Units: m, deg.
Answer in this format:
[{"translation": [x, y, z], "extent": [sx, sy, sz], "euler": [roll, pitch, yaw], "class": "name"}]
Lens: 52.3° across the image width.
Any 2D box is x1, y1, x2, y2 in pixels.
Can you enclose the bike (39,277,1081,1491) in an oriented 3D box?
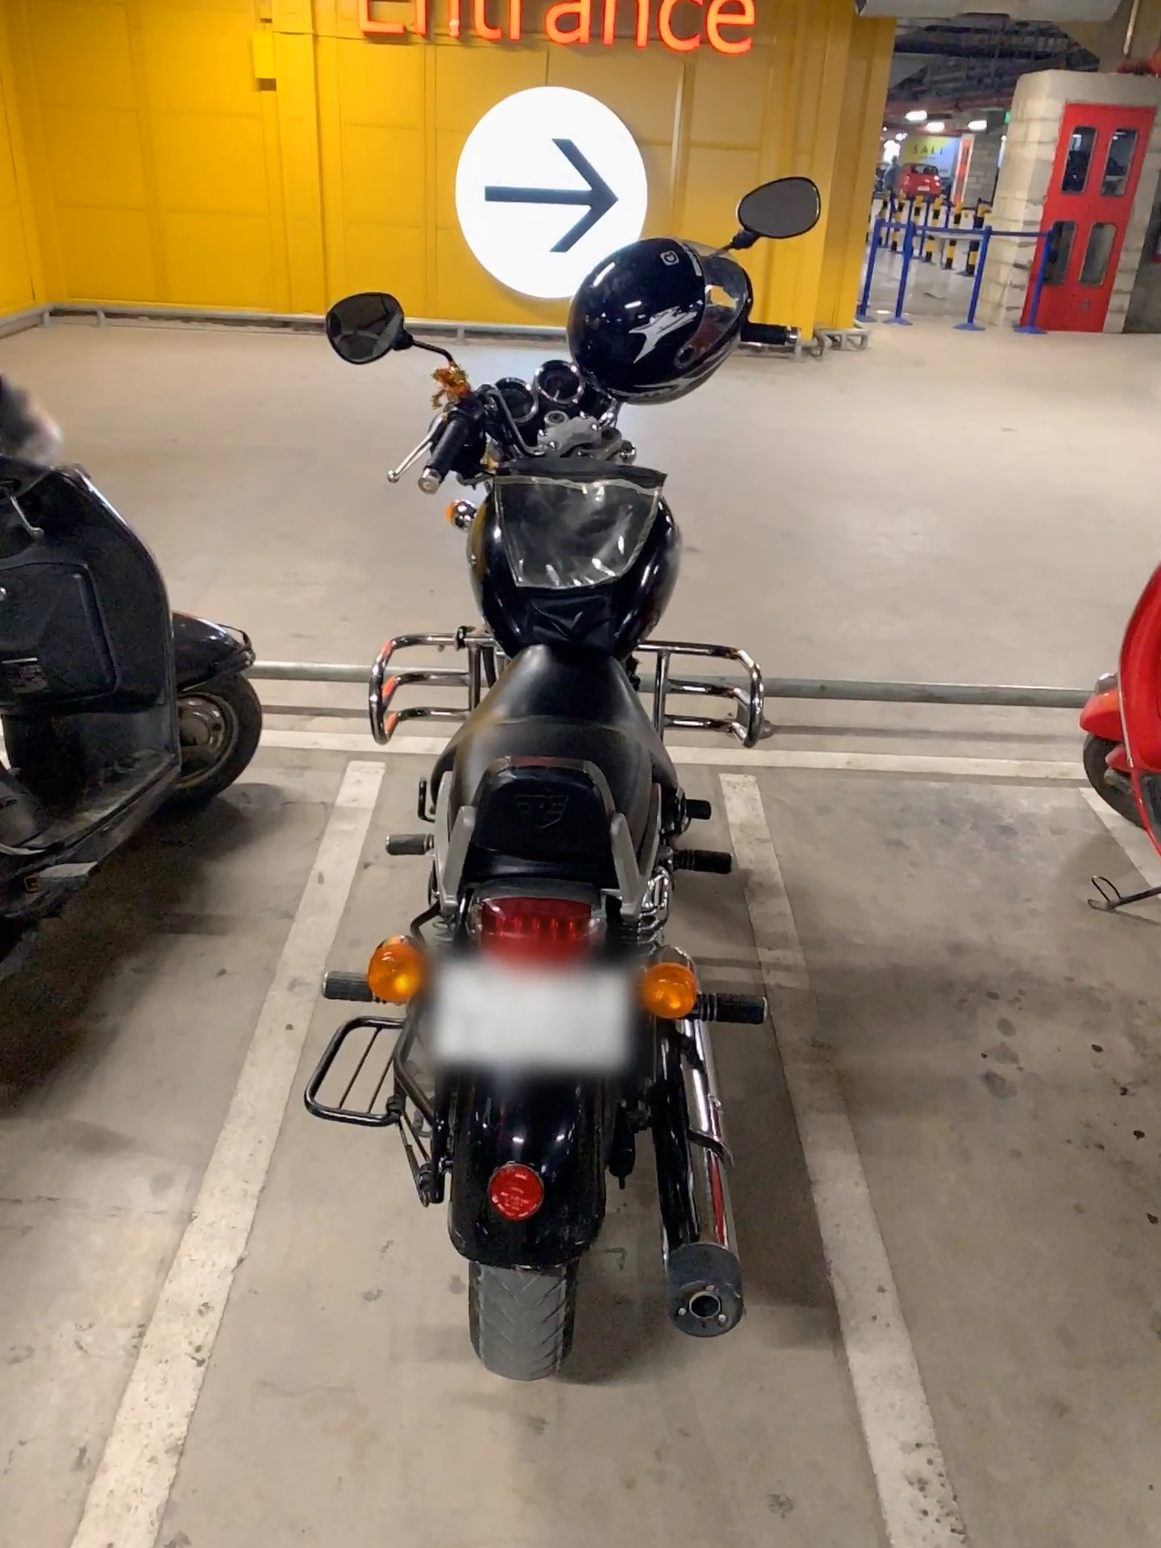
[{"translation": [-0.118, -0.129, 2.146], "extent": [0.828, 1.229, 2.087], "euler": [1, 27, -4], "class": "bike"}]
